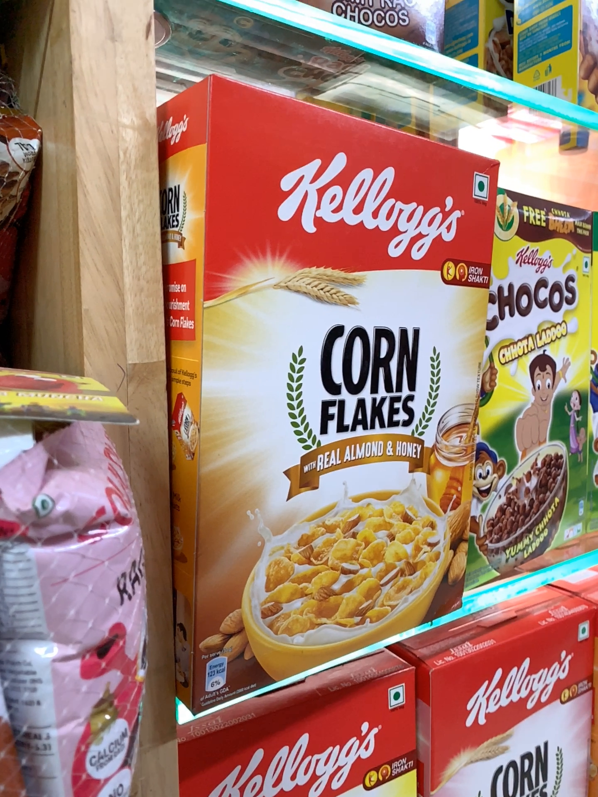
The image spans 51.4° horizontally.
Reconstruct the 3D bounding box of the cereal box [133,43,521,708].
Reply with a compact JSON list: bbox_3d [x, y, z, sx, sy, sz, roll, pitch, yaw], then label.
[{"bbox_3d":[0.017,-0.009,0.301,0.170,0.239,0.070,-3,9,-37],"label":"cereal box"}]
